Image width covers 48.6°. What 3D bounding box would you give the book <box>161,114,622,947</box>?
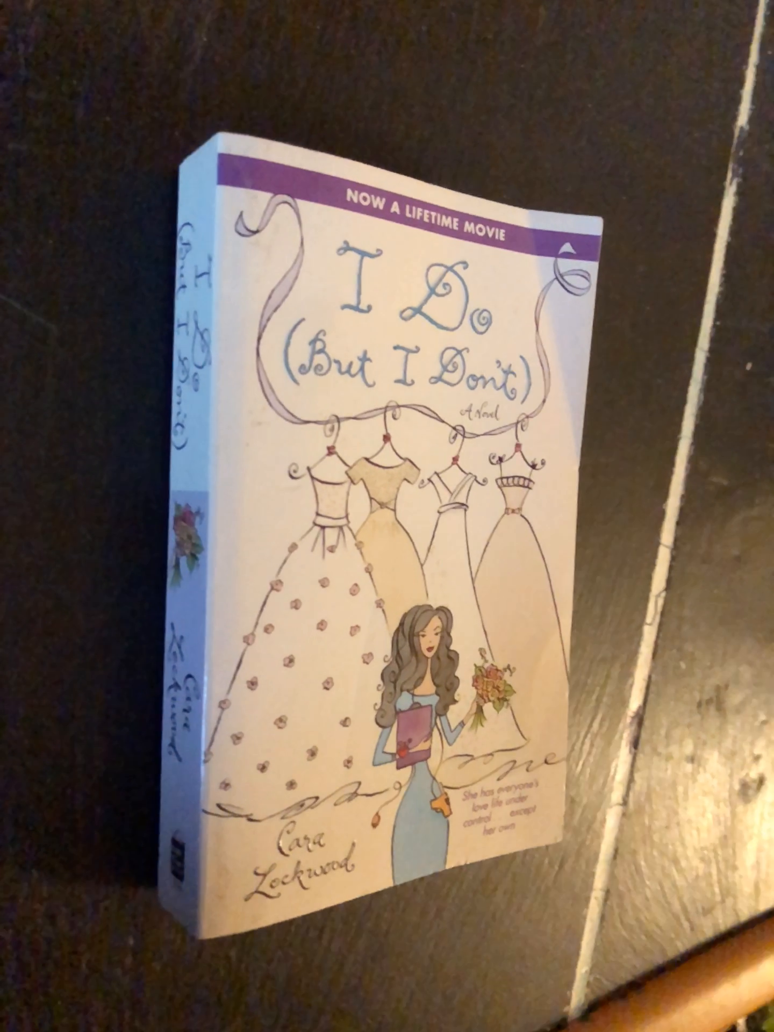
[{"bbox_3d":[0.005,0.004,0.214,0.111,0.032,0.164,1,92,-35],"label":"book"}]
